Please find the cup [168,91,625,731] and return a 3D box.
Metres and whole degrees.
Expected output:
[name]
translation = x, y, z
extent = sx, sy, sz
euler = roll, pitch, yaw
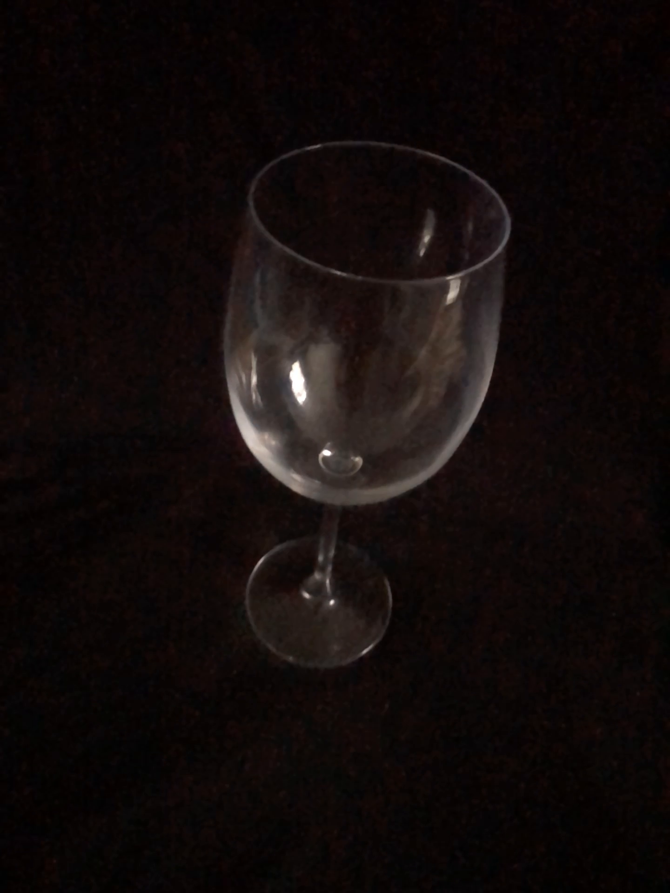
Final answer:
[cup]
translation = 0.009, 0.008, 0.327
extent = 0.100, 0.266, 0.103
euler = 2, 50, -2
